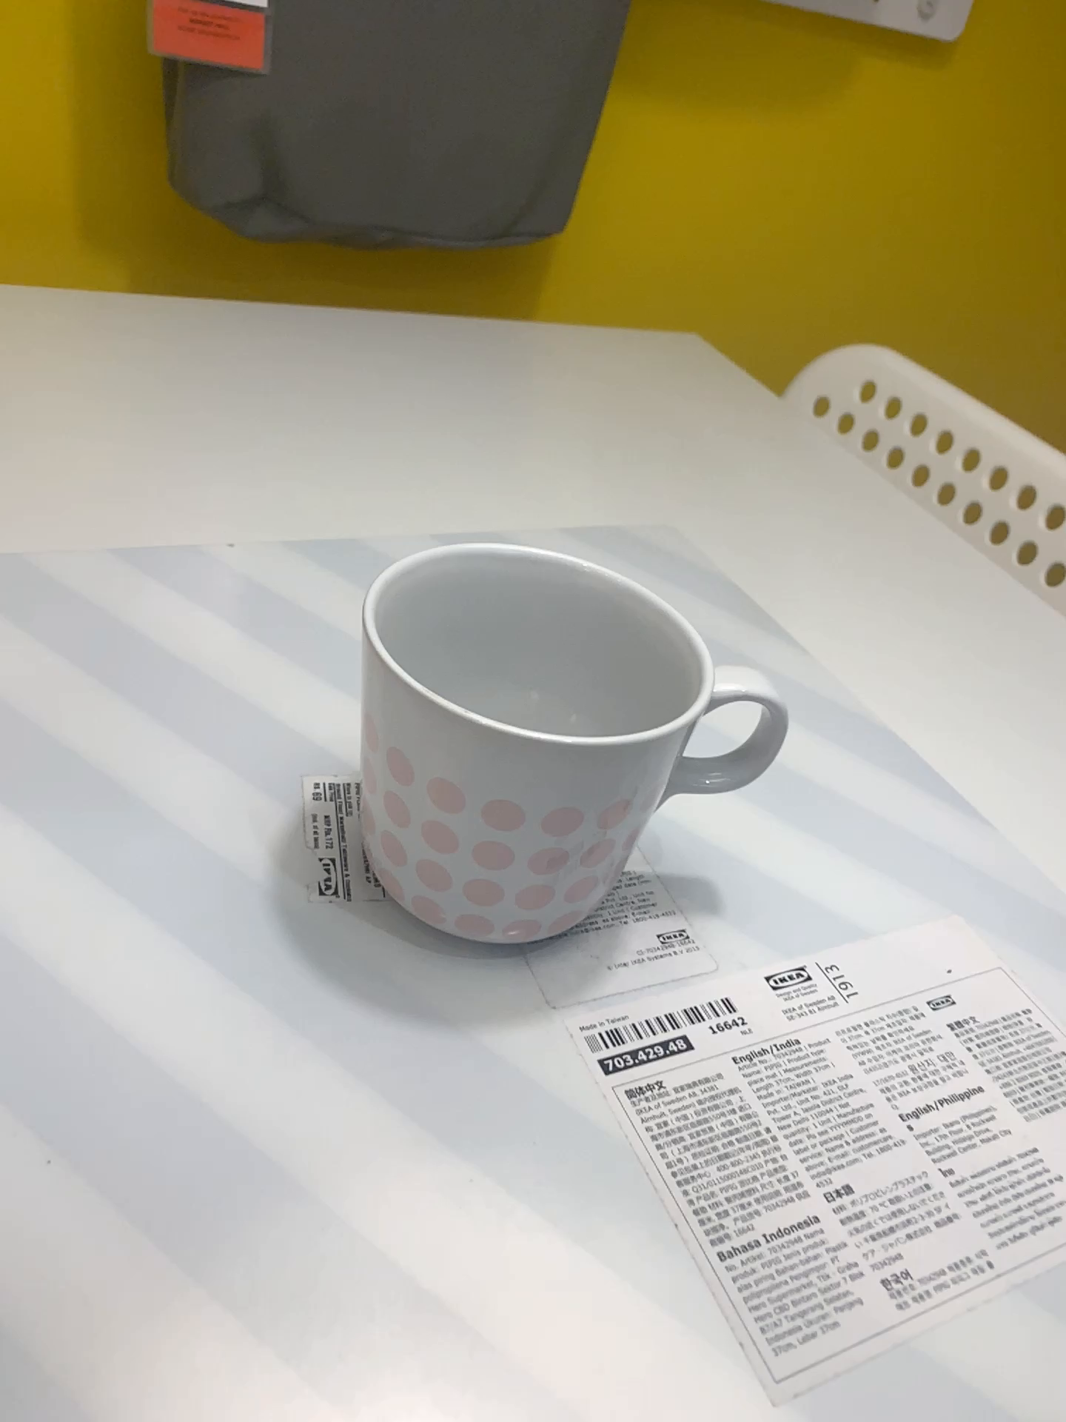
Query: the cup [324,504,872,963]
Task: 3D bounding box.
[{"bbox_3d":[0.007,0.005,0.285,0.110,0.080,0.080,2,37,-16],"label":"cup"}]
